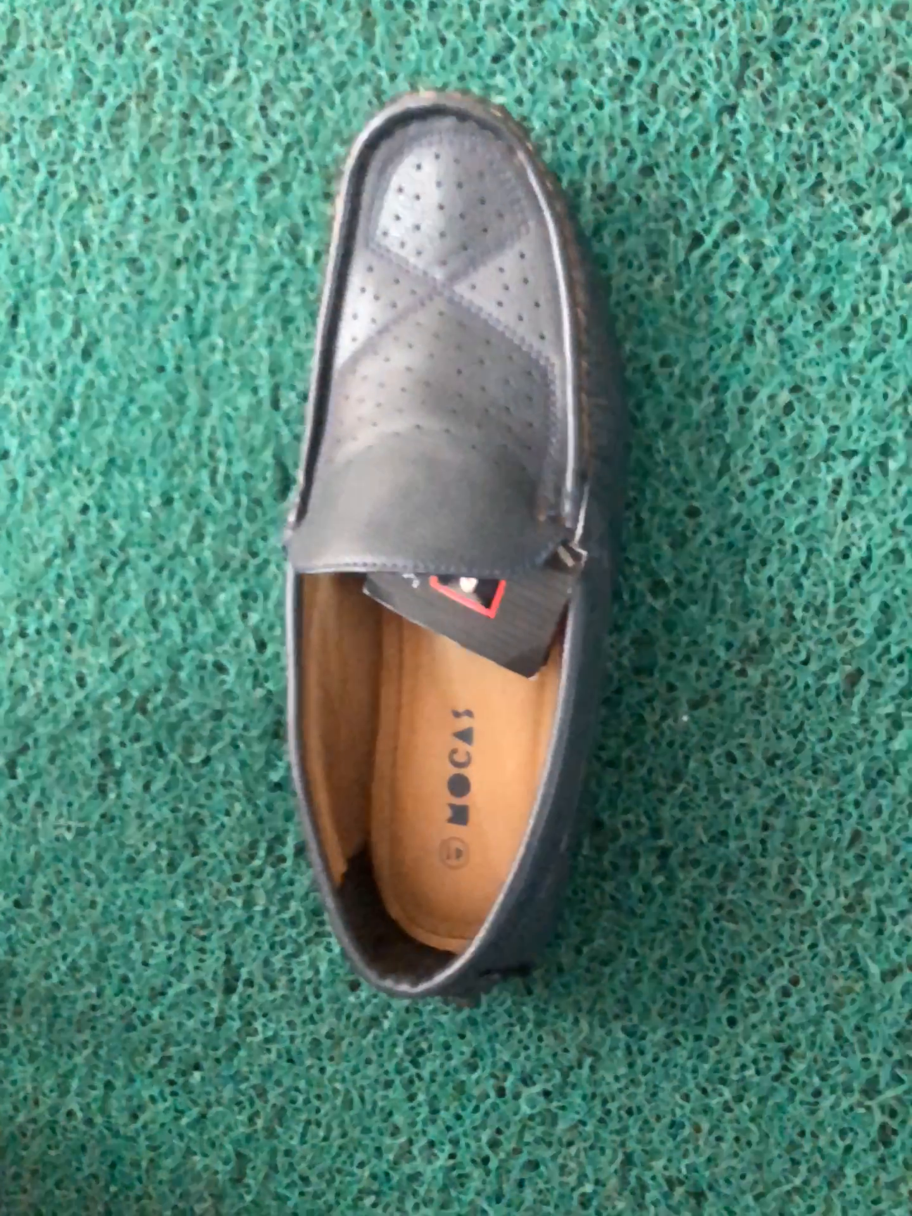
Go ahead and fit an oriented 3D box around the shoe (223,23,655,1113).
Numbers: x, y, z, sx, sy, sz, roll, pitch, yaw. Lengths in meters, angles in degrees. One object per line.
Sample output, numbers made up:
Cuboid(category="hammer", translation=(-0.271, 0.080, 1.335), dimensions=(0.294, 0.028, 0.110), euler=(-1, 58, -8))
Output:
Cuboid(category="shoe", translation=(-0.003, -0.011, 0.309), dimensions=(0.100, 0.070, 0.280), euler=(4, 93, 16))
